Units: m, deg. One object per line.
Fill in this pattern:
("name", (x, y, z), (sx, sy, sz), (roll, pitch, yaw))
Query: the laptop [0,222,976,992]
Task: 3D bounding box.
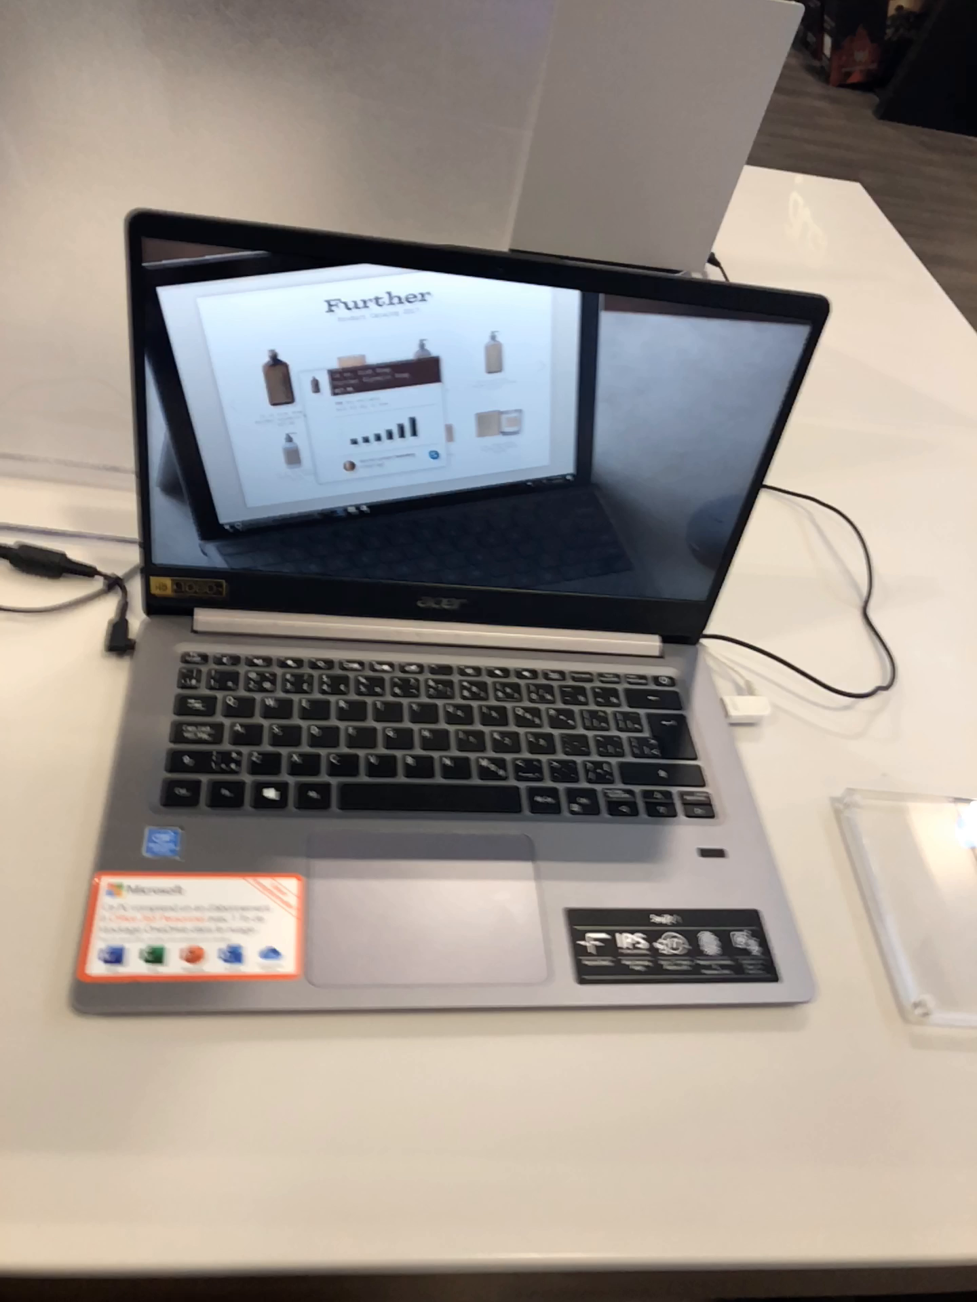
("laptop", (-0.004, -0.013, 0.456), (0.306, 0.205, 0.225), (3, 45, -12))
